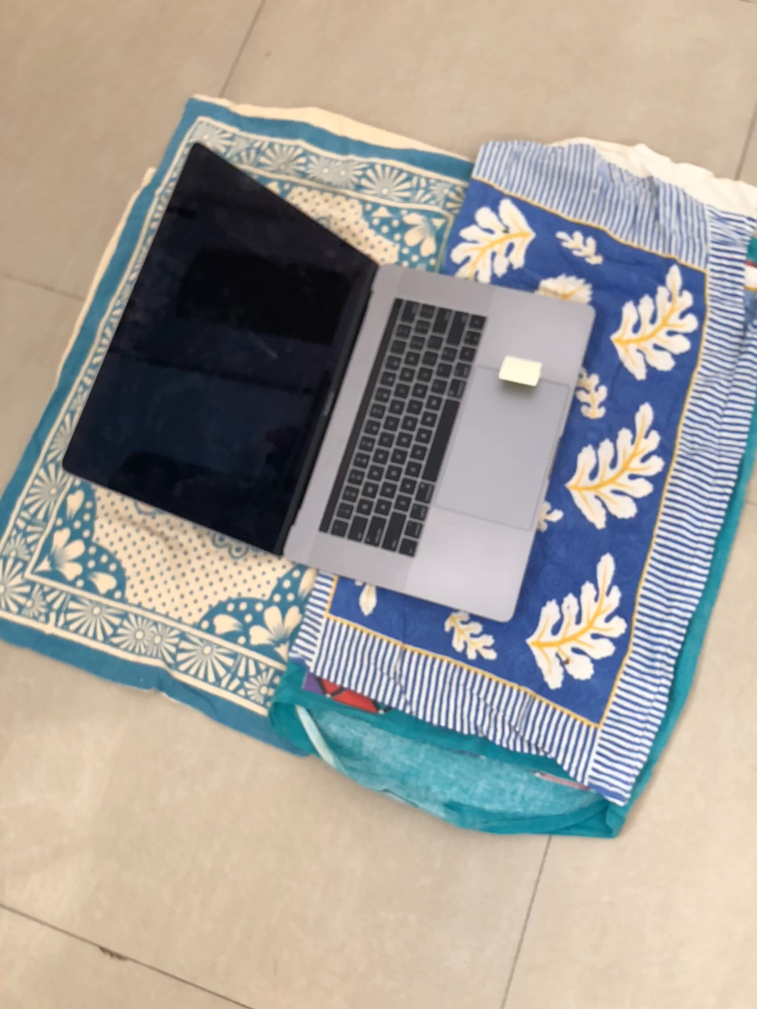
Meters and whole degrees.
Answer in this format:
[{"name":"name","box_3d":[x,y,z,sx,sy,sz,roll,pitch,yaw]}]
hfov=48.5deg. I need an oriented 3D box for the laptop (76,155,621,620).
[{"name":"laptop","box_3d":[-0.021,-0.114,0.807,0.401,0.132,0.336,15,77,9]}]
